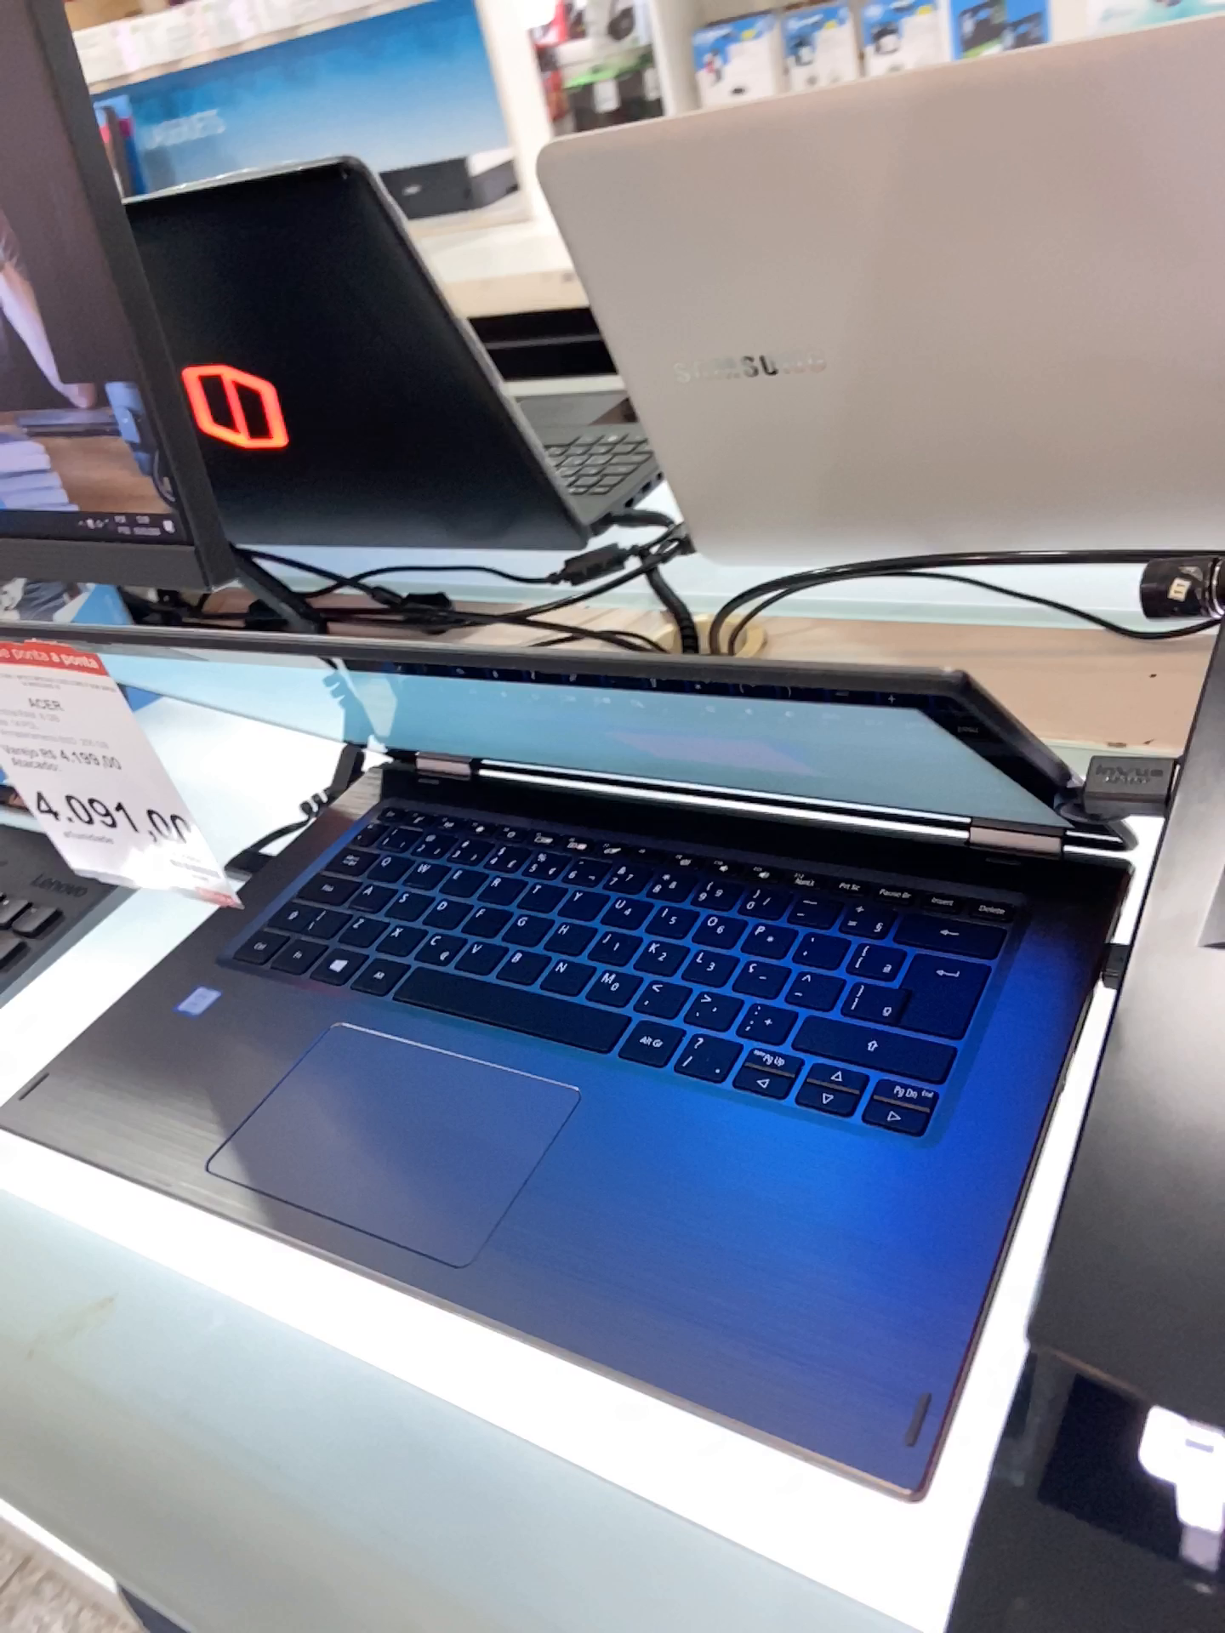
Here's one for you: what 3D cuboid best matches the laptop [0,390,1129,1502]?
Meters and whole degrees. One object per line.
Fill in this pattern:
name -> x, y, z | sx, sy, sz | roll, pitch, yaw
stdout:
laptop -> -0.041, -0.002, 0.381 | 0.328, 0.154, 0.219 | 8, 40, 31
